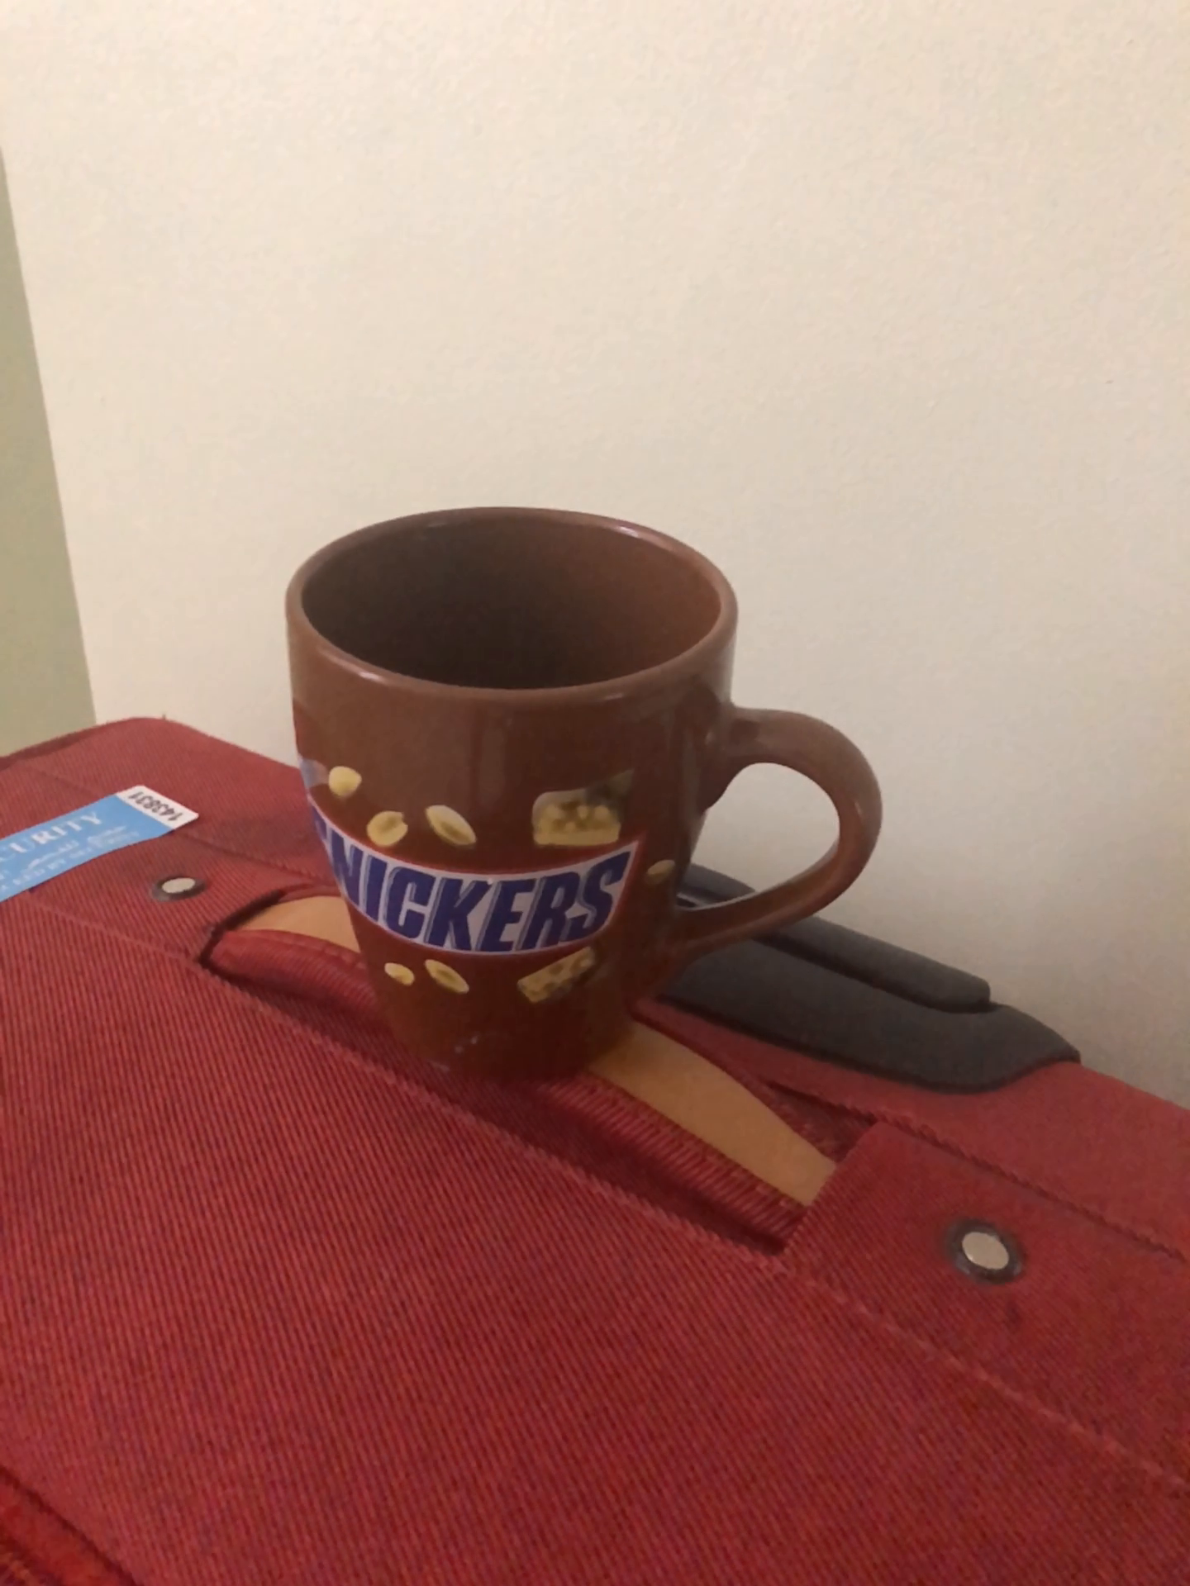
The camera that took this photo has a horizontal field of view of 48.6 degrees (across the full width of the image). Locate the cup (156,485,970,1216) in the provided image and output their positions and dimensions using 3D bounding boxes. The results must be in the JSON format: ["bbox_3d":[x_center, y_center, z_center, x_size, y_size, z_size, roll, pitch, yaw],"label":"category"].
[{"bbox_3d":[-0.002,0.001,0.251,0.115,0.080,0.088,15,35,24],"label":"cup"}]
